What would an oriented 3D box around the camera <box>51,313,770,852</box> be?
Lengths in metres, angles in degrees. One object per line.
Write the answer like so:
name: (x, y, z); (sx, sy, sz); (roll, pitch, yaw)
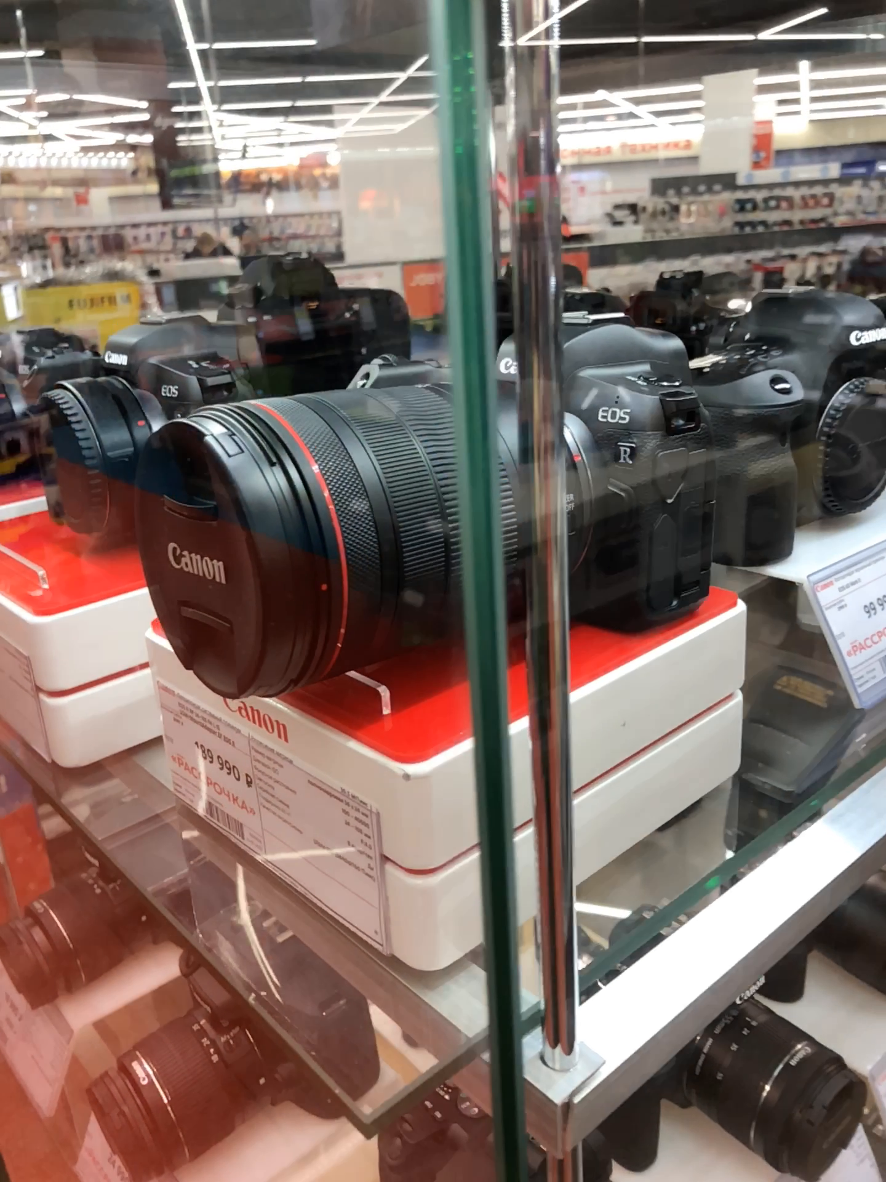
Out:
camera: (-0.006, -0.027, 0.333); (0.184, 0.110, 0.140); (-19, 25, -37)
